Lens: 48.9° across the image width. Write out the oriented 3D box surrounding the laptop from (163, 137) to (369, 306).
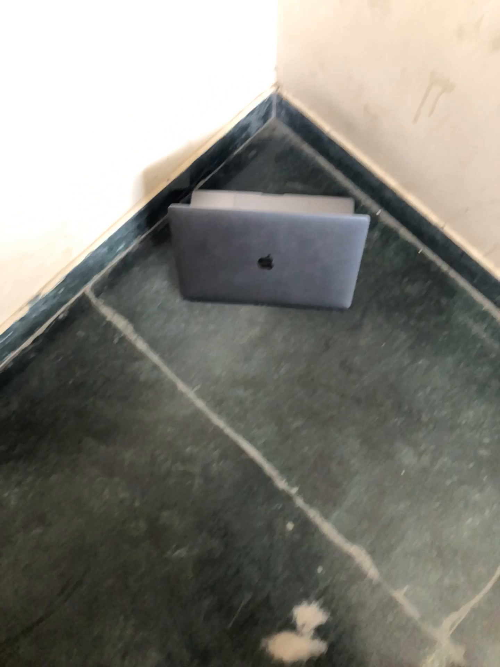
[{"bbox_3d":[0.032,-0.198,1.015,0.329,0.199,0.221,5,77,5],"label":"laptop"}]
